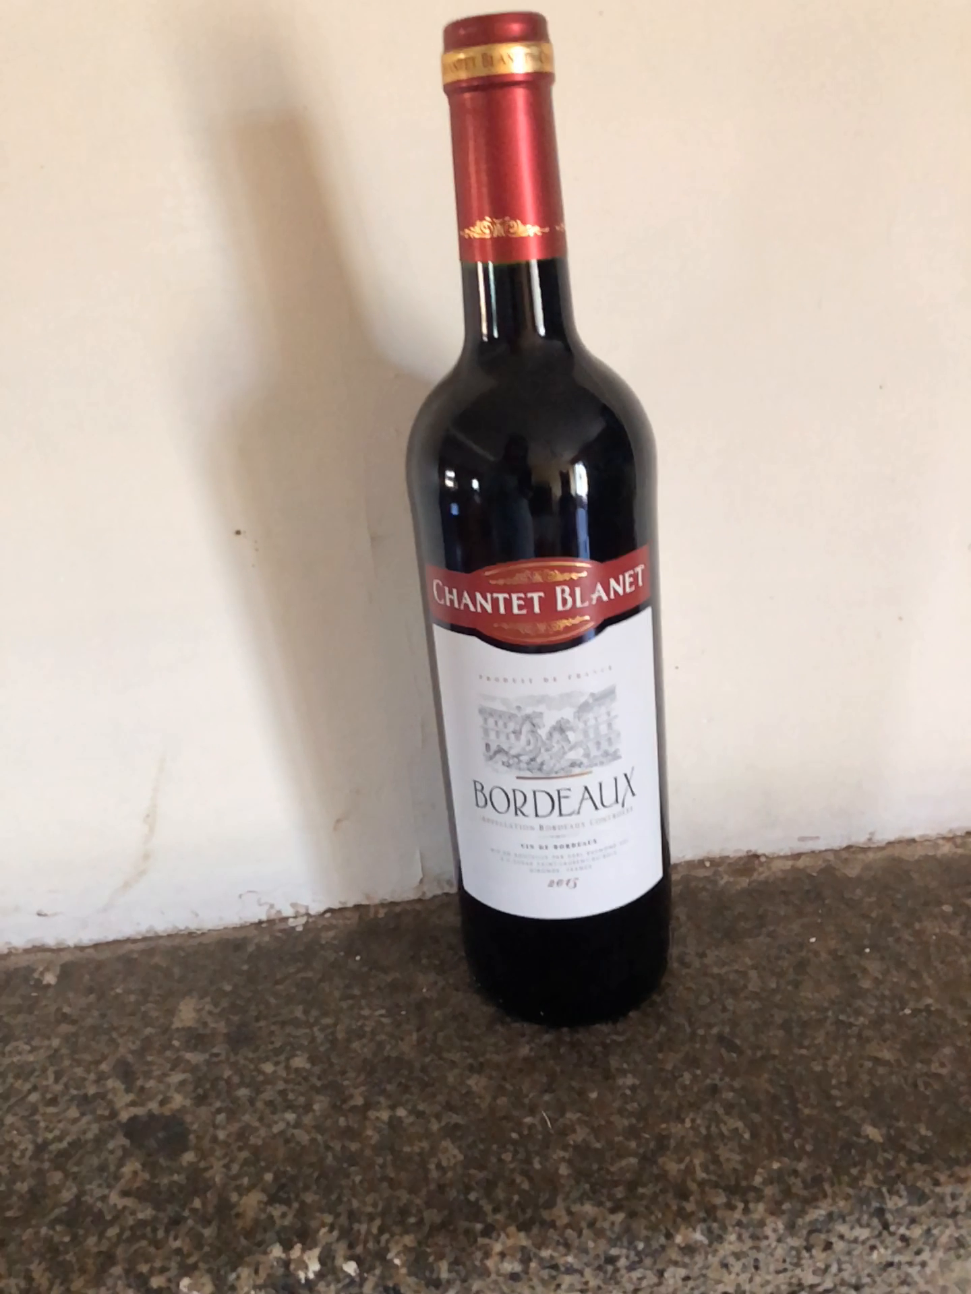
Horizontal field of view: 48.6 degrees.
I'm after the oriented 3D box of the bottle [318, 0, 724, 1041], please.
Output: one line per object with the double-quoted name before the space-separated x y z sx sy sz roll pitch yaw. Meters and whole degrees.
"bottle" 0.017 -0.029 0.323 0.080 0.289 0.080 -6 22 2
